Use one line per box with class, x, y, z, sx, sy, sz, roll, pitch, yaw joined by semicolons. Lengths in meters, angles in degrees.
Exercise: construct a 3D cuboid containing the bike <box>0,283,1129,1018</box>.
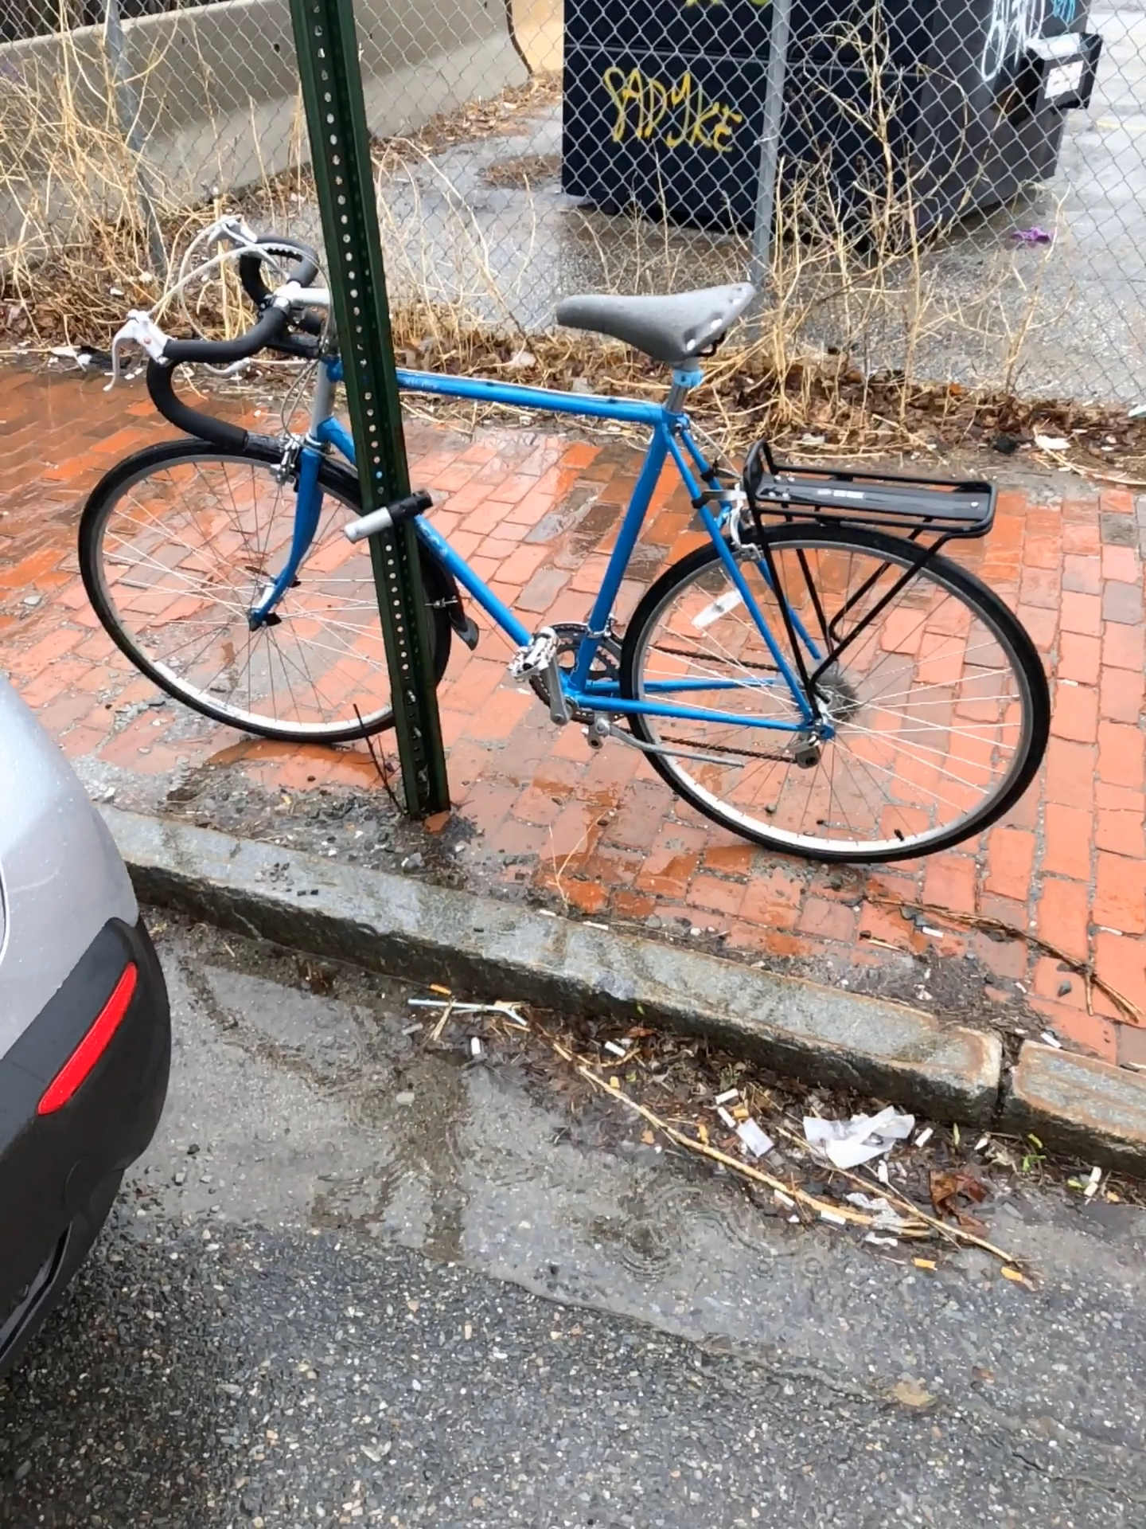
bike;-0.120;-0.245;2.252;1.864;0.919;0.475;10;37;13
